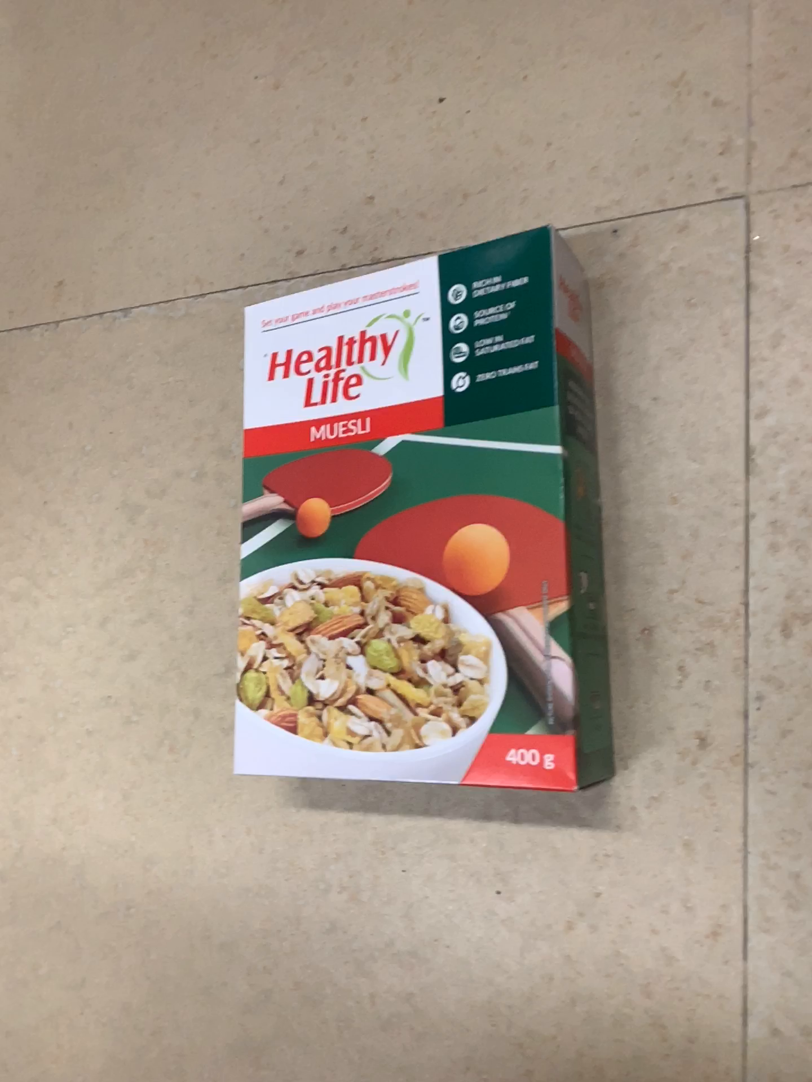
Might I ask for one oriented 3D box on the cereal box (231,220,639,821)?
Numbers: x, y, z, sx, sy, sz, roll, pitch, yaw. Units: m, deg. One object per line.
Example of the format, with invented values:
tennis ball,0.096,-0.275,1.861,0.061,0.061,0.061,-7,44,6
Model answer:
cereal box,0.012,-0.002,0.380,0.161,0.080,0.230,-5,80,25
